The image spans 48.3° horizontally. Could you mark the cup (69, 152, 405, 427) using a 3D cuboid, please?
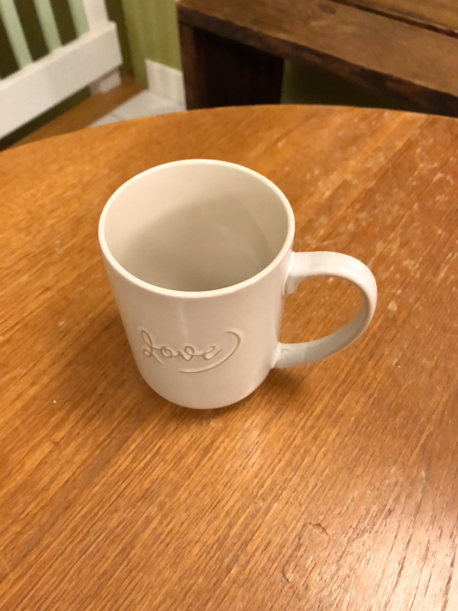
[{"bbox_3d":[0.005,-0.003,0.282,0.134,0.124,0.092,1,53,1],"label":"cup"}]
